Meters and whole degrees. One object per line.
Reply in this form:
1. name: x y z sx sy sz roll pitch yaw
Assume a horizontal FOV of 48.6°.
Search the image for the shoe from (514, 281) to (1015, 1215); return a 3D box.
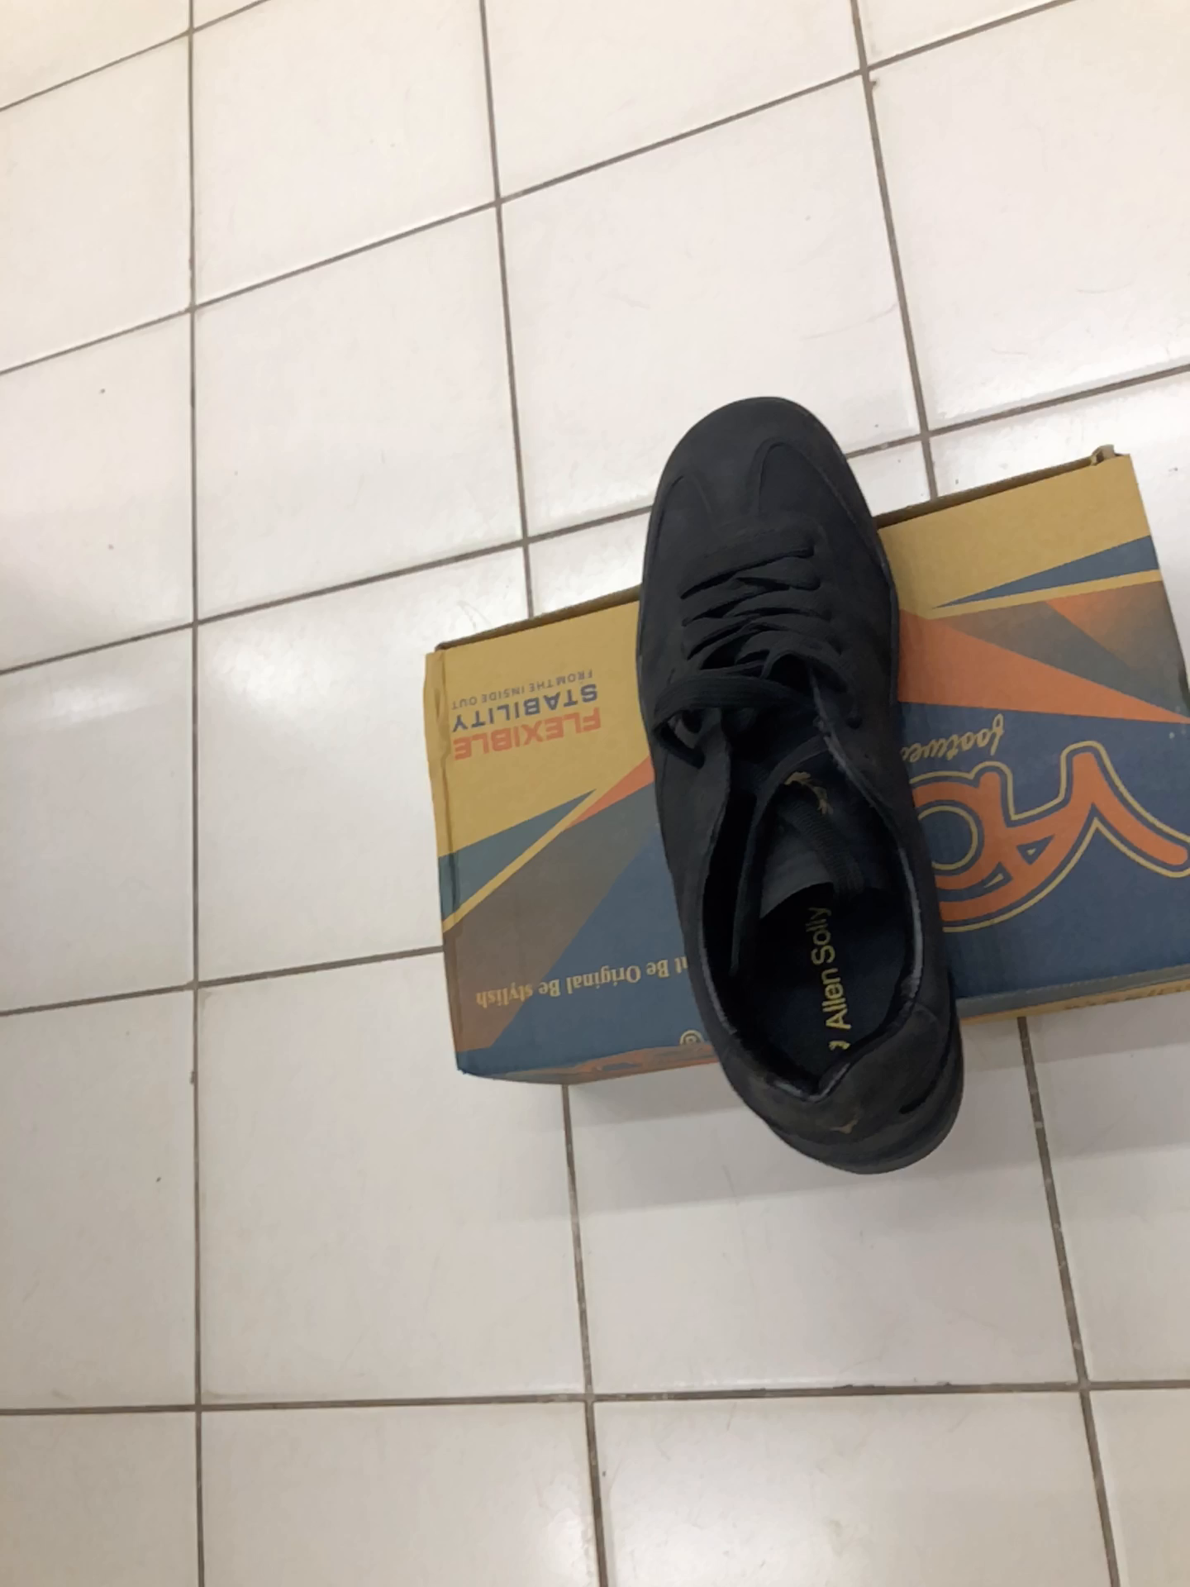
1. shoe: 0.050 -0.013 0.413 0.090 0.080 0.260 -15 73 18
